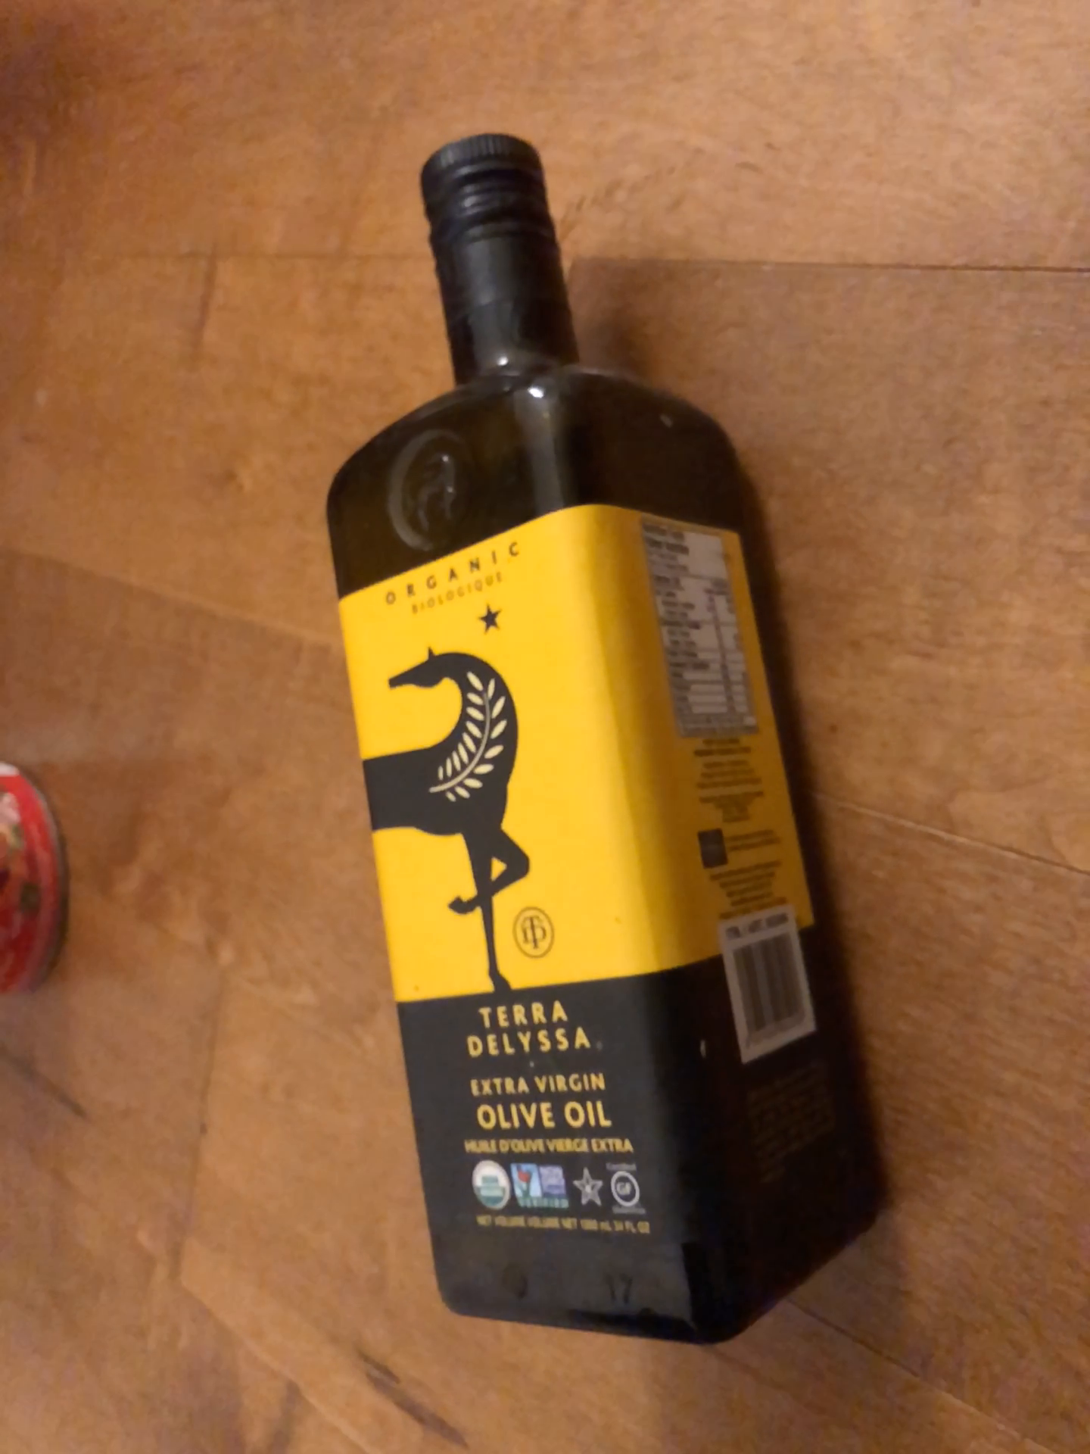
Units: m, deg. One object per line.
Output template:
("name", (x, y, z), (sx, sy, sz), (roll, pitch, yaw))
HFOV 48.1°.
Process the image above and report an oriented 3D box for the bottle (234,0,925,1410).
("bottle", (0.001, -0.009, 0.271), (0.090, 0.060, 0.270), (-16, 80, 38))
